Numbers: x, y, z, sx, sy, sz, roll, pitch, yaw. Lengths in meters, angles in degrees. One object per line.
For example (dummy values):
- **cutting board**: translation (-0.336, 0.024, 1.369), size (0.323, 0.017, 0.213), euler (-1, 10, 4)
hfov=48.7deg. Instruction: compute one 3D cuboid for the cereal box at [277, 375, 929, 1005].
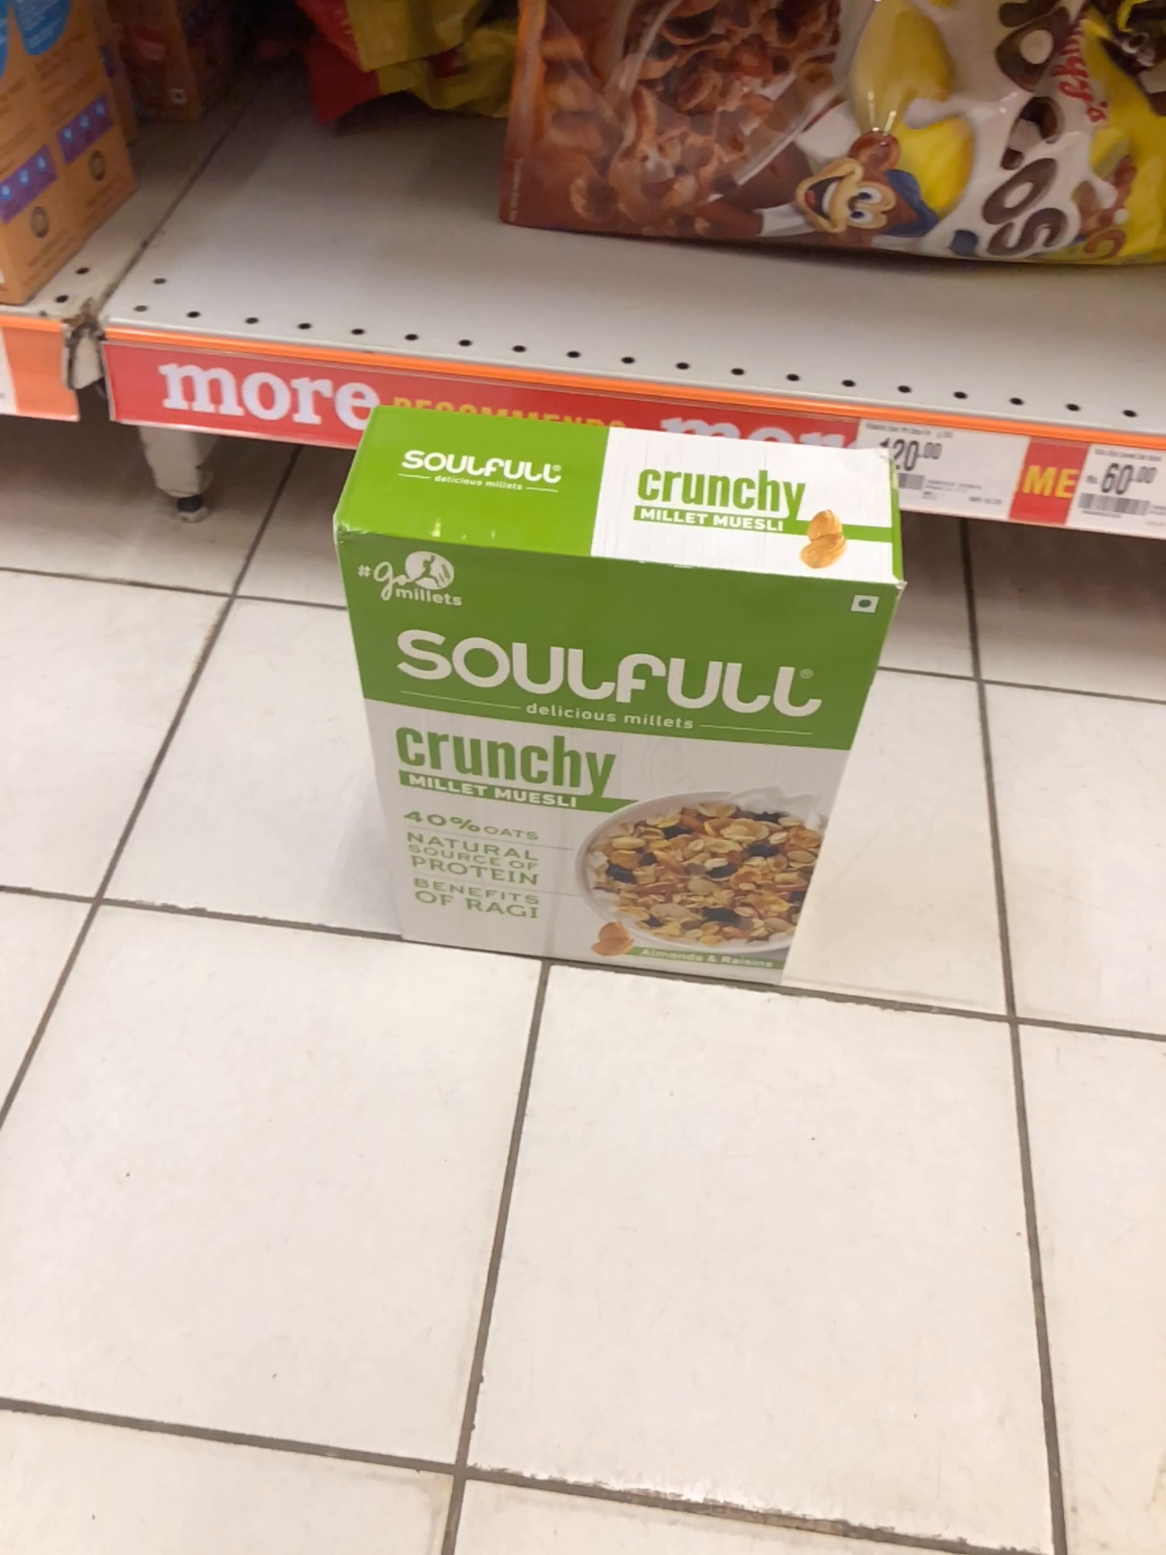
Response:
- **cereal box**: translation (0.005, -0.015, 0.464), size (0.180, 0.239, 0.060), euler (6, 50, 3)
